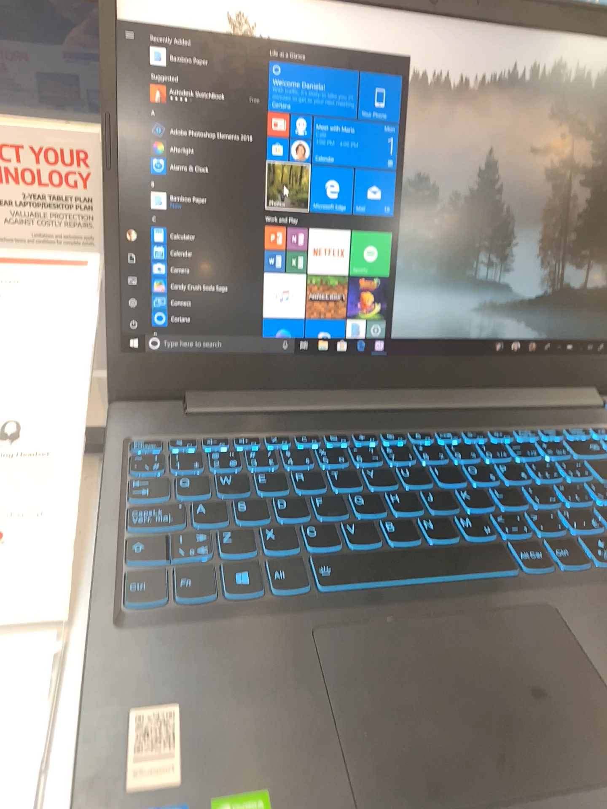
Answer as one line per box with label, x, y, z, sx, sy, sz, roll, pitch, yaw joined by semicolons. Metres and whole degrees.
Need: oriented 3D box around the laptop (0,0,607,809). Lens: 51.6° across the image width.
laptop;0.088;-0.051;0.270;0.340;0.214;0.330;0;33;-15
